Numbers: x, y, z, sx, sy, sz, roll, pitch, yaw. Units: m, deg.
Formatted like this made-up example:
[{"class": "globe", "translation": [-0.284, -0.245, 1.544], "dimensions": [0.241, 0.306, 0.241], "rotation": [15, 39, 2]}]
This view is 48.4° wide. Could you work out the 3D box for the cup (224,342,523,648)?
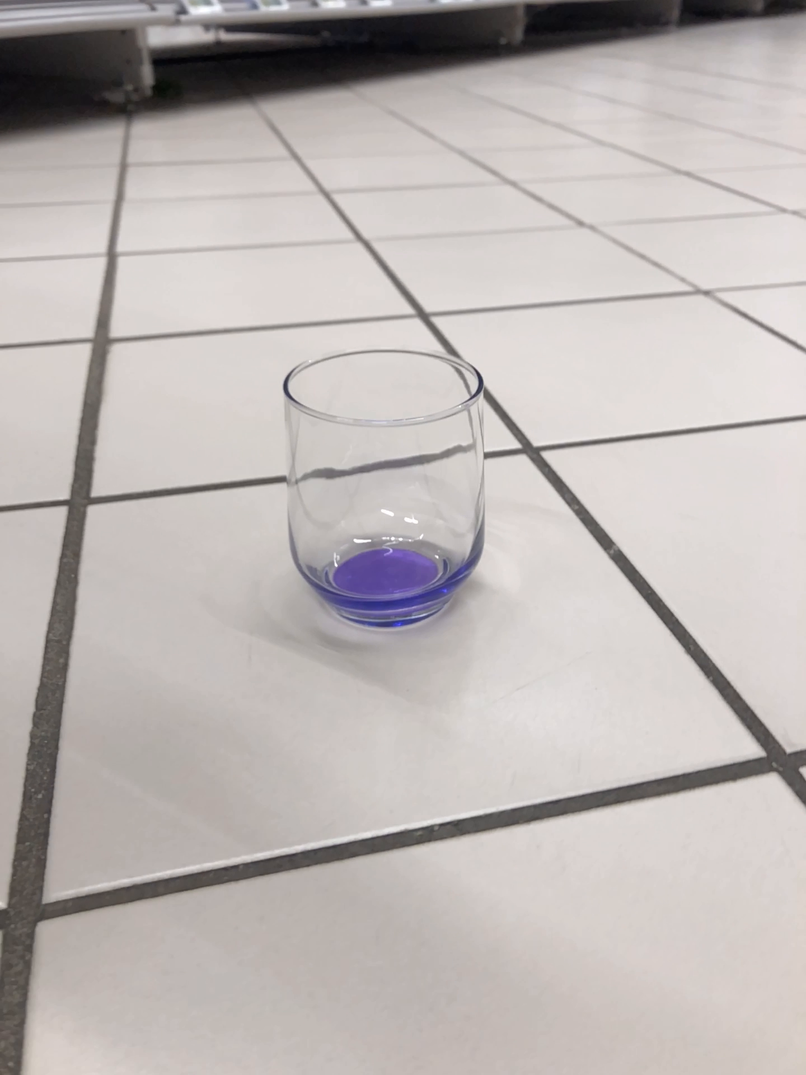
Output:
[{"class": "cup", "translation": [-0.006, -0.017, 0.290], "dimensions": [0.070, 0.063, 0.070], "rotation": [0, 32, 0]}]
